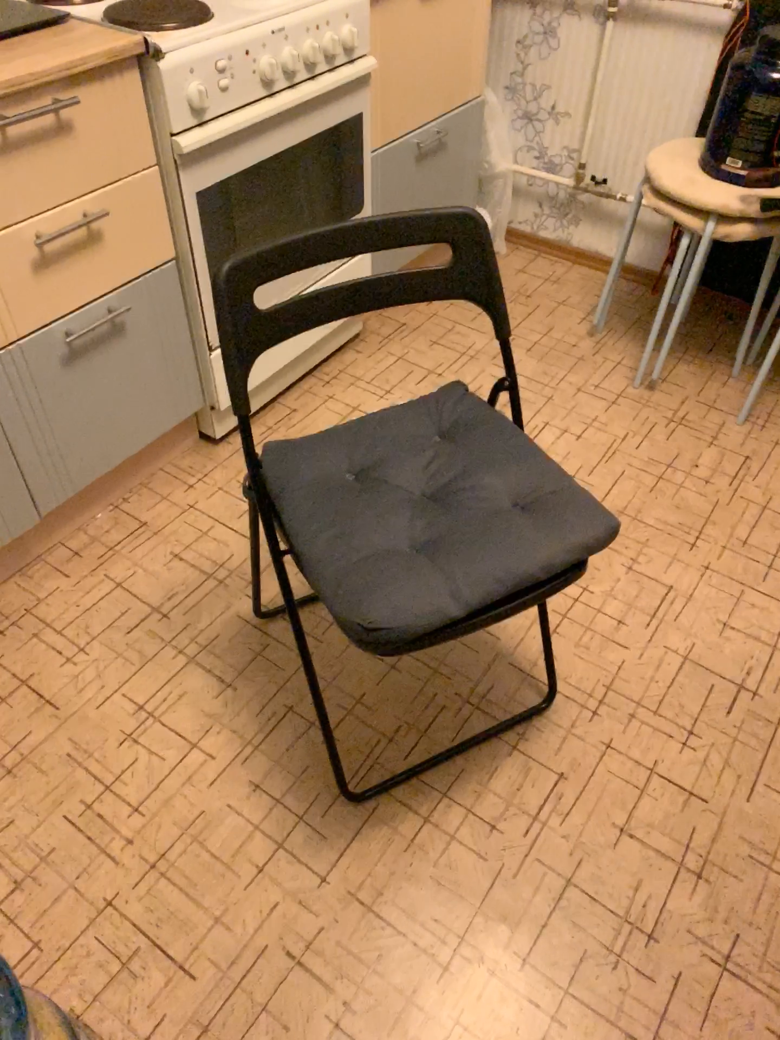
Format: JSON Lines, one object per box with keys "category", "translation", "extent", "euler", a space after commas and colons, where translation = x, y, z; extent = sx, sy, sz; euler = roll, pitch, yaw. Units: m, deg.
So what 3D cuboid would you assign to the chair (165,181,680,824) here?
{"category": "chair", "translation": [0.011, -0.009, 1.238], "extent": [0.441, 0.776, 0.482], "euler": [-21, 49, -21]}
